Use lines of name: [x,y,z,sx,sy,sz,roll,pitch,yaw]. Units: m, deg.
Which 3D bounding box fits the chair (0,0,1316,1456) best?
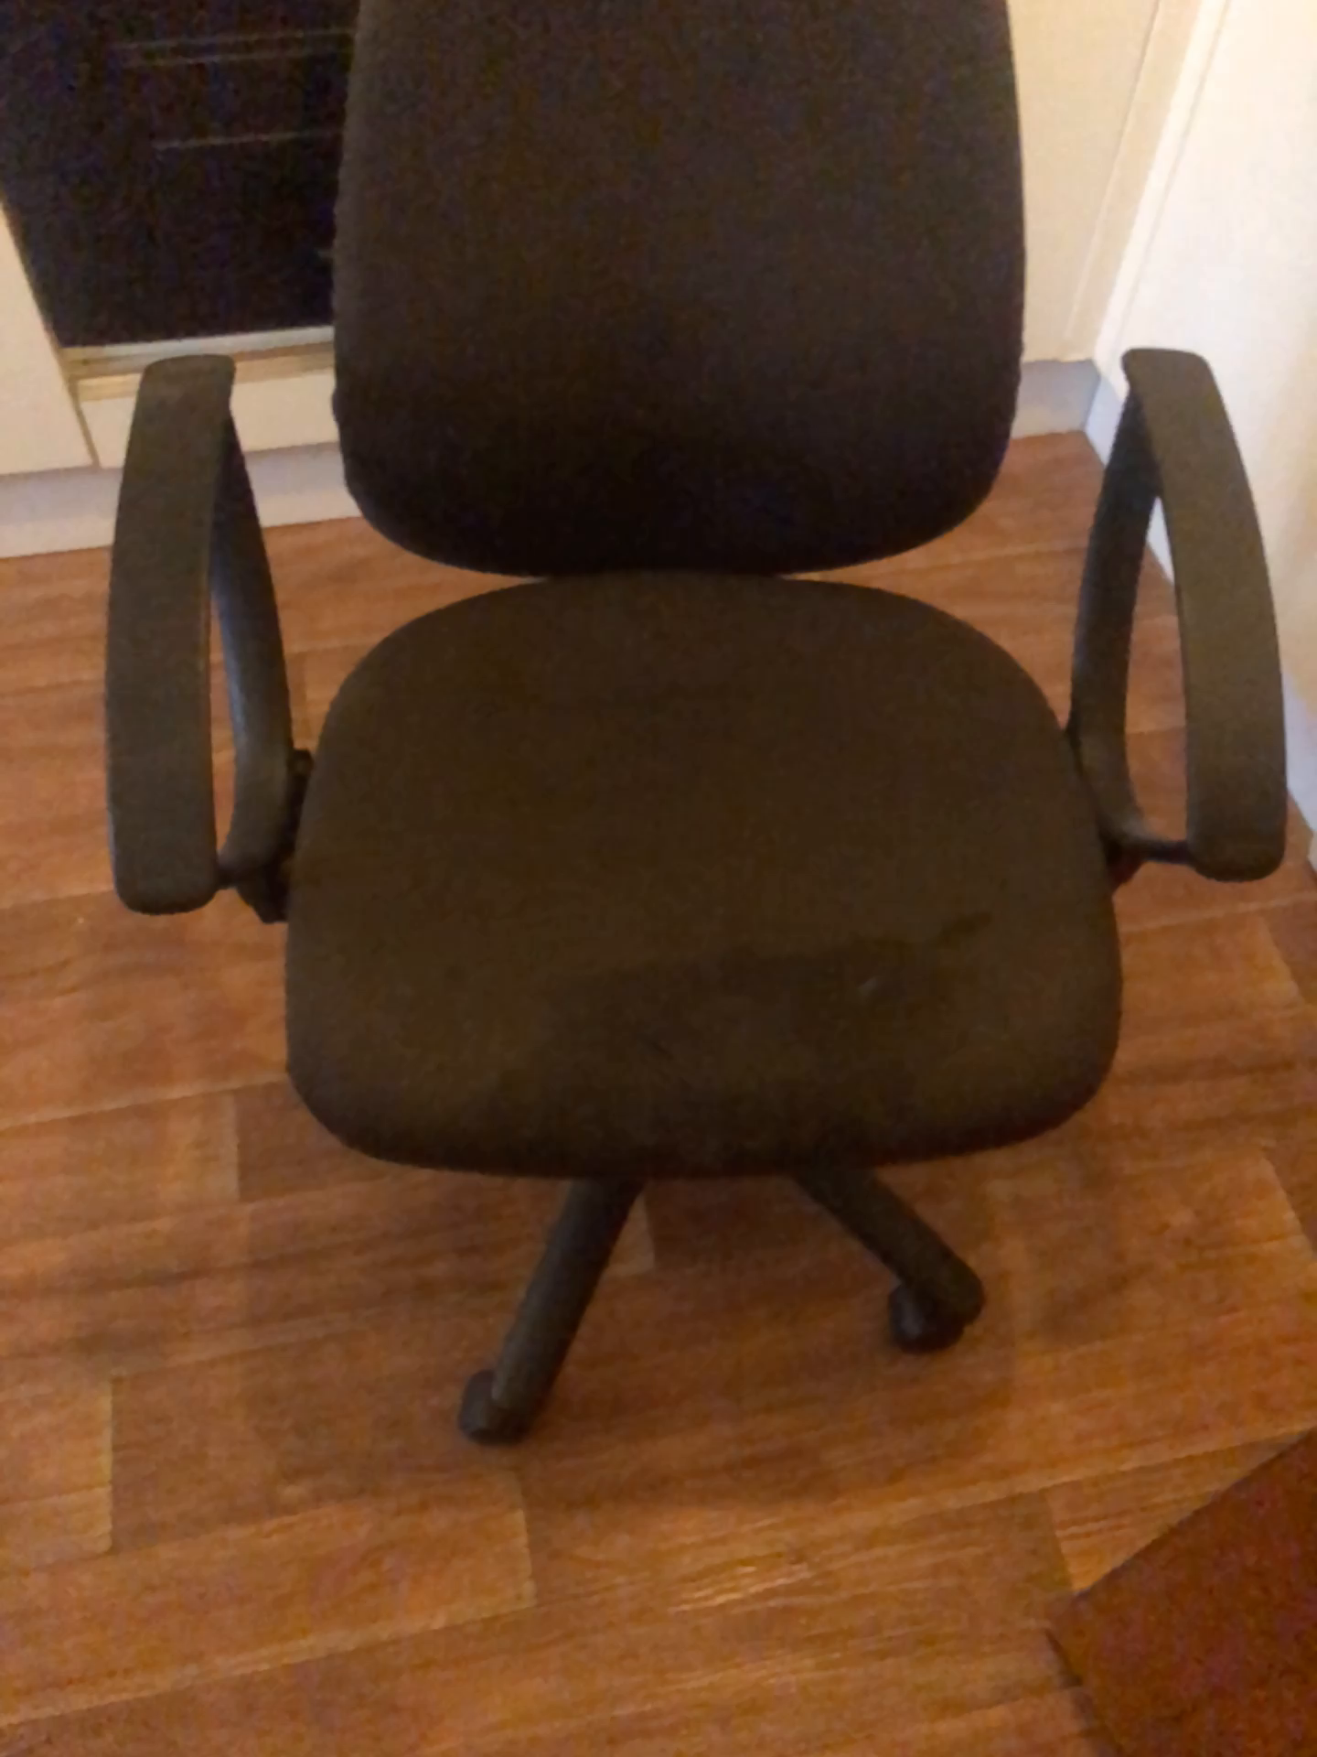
chair: [0.022,-0.076,0.930,0.673,0.816,0.655,1,55,-2]
